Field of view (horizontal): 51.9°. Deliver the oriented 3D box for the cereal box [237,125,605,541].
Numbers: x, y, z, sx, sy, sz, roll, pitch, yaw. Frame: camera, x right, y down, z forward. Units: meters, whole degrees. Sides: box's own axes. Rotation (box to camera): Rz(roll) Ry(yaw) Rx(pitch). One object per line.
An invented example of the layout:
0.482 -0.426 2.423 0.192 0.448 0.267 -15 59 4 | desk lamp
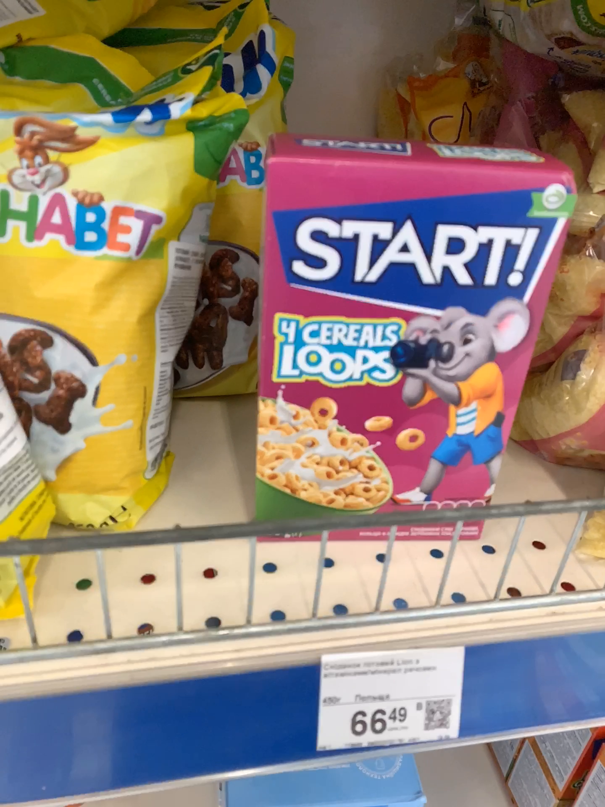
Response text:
0.034 -0.021 0.255 0.120 0.159 0.050 1 32 -6 | cereal box
